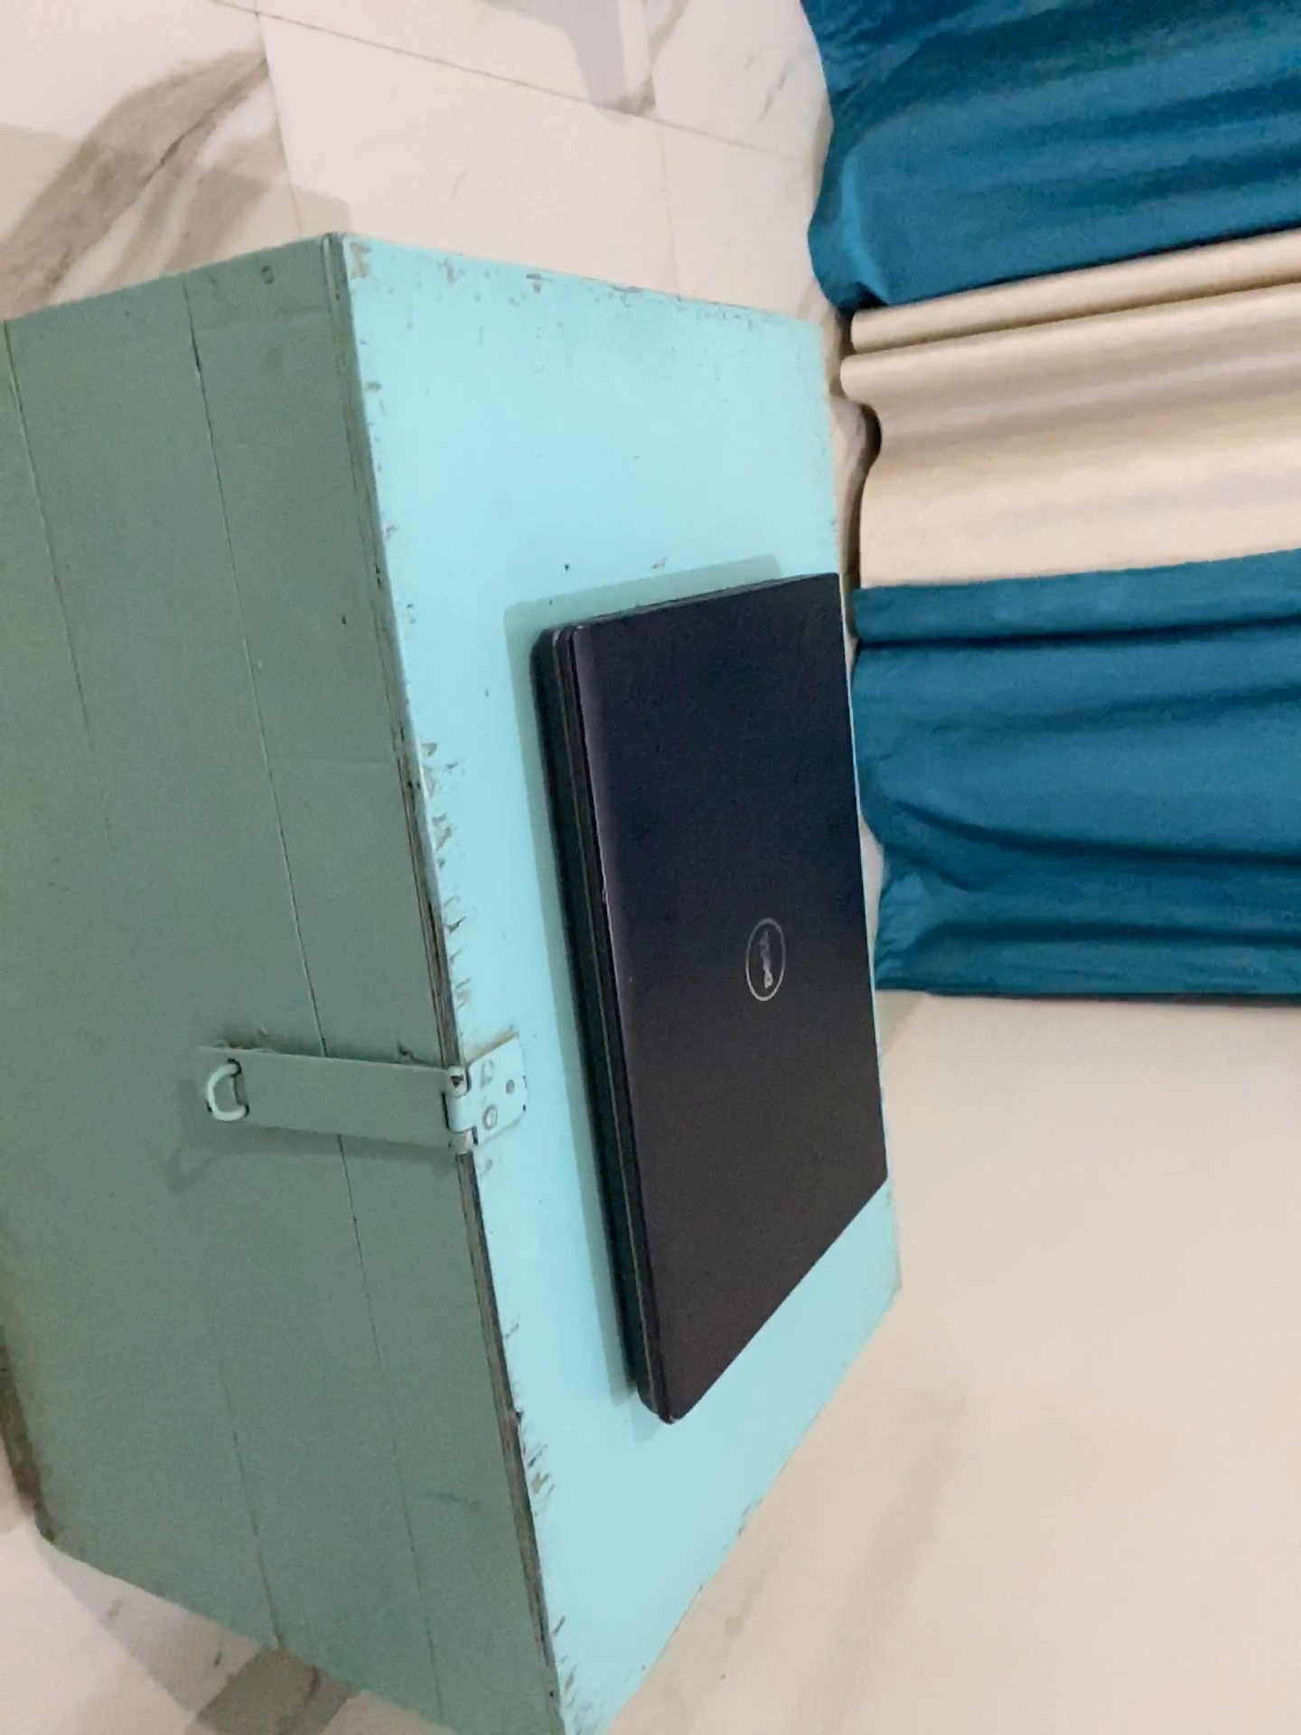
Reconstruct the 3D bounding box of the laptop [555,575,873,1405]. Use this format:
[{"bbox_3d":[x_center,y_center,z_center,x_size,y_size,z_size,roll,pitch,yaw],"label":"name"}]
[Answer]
[{"bbox_3d":[0.053,0.047,0.732,0.270,0.004,0.384,-25,112,-54],"label":"laptop"}]
